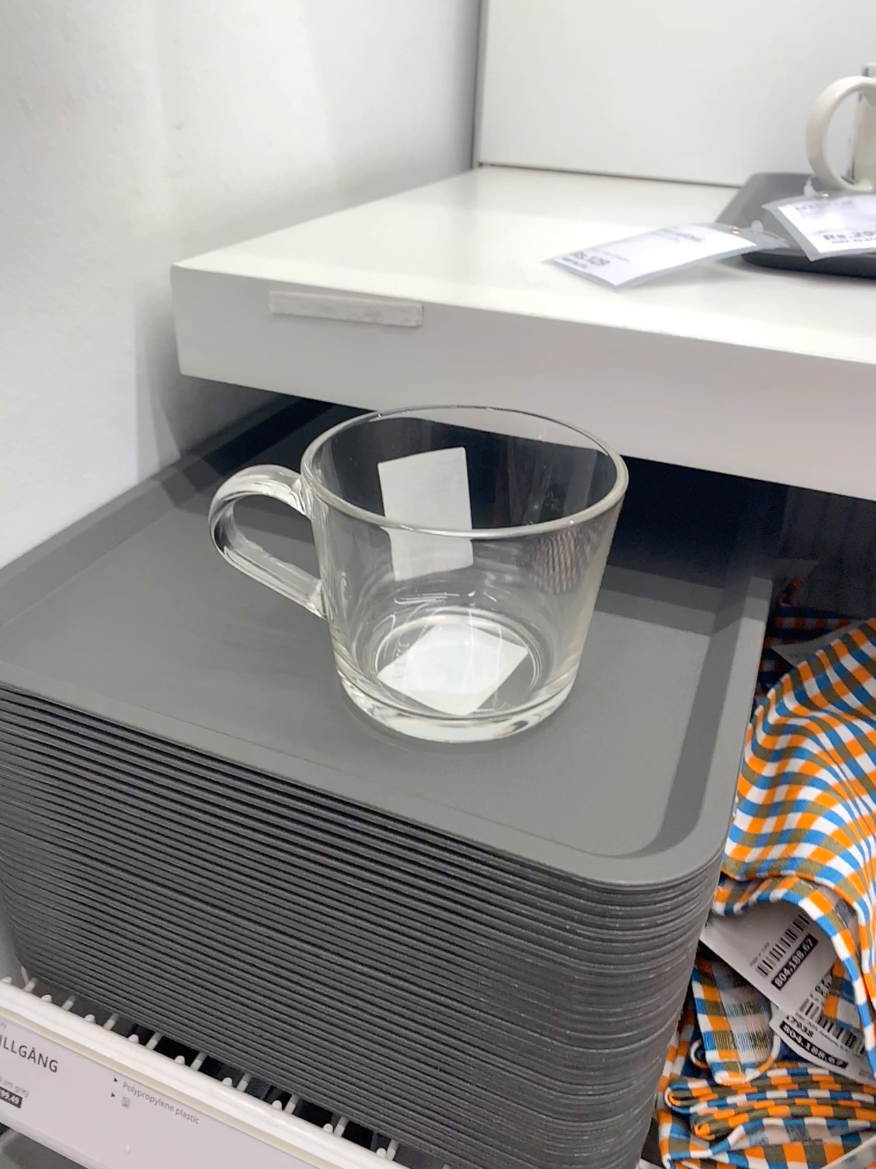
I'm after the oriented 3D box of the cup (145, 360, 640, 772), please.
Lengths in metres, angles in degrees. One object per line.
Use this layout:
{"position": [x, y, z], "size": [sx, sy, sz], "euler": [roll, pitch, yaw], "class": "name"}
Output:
{"position": [-0.007, -0.014, 0.297], "size": [0.130, 0.080, 0.100], "euler": [8, 30, 9], "class": "cup"}
